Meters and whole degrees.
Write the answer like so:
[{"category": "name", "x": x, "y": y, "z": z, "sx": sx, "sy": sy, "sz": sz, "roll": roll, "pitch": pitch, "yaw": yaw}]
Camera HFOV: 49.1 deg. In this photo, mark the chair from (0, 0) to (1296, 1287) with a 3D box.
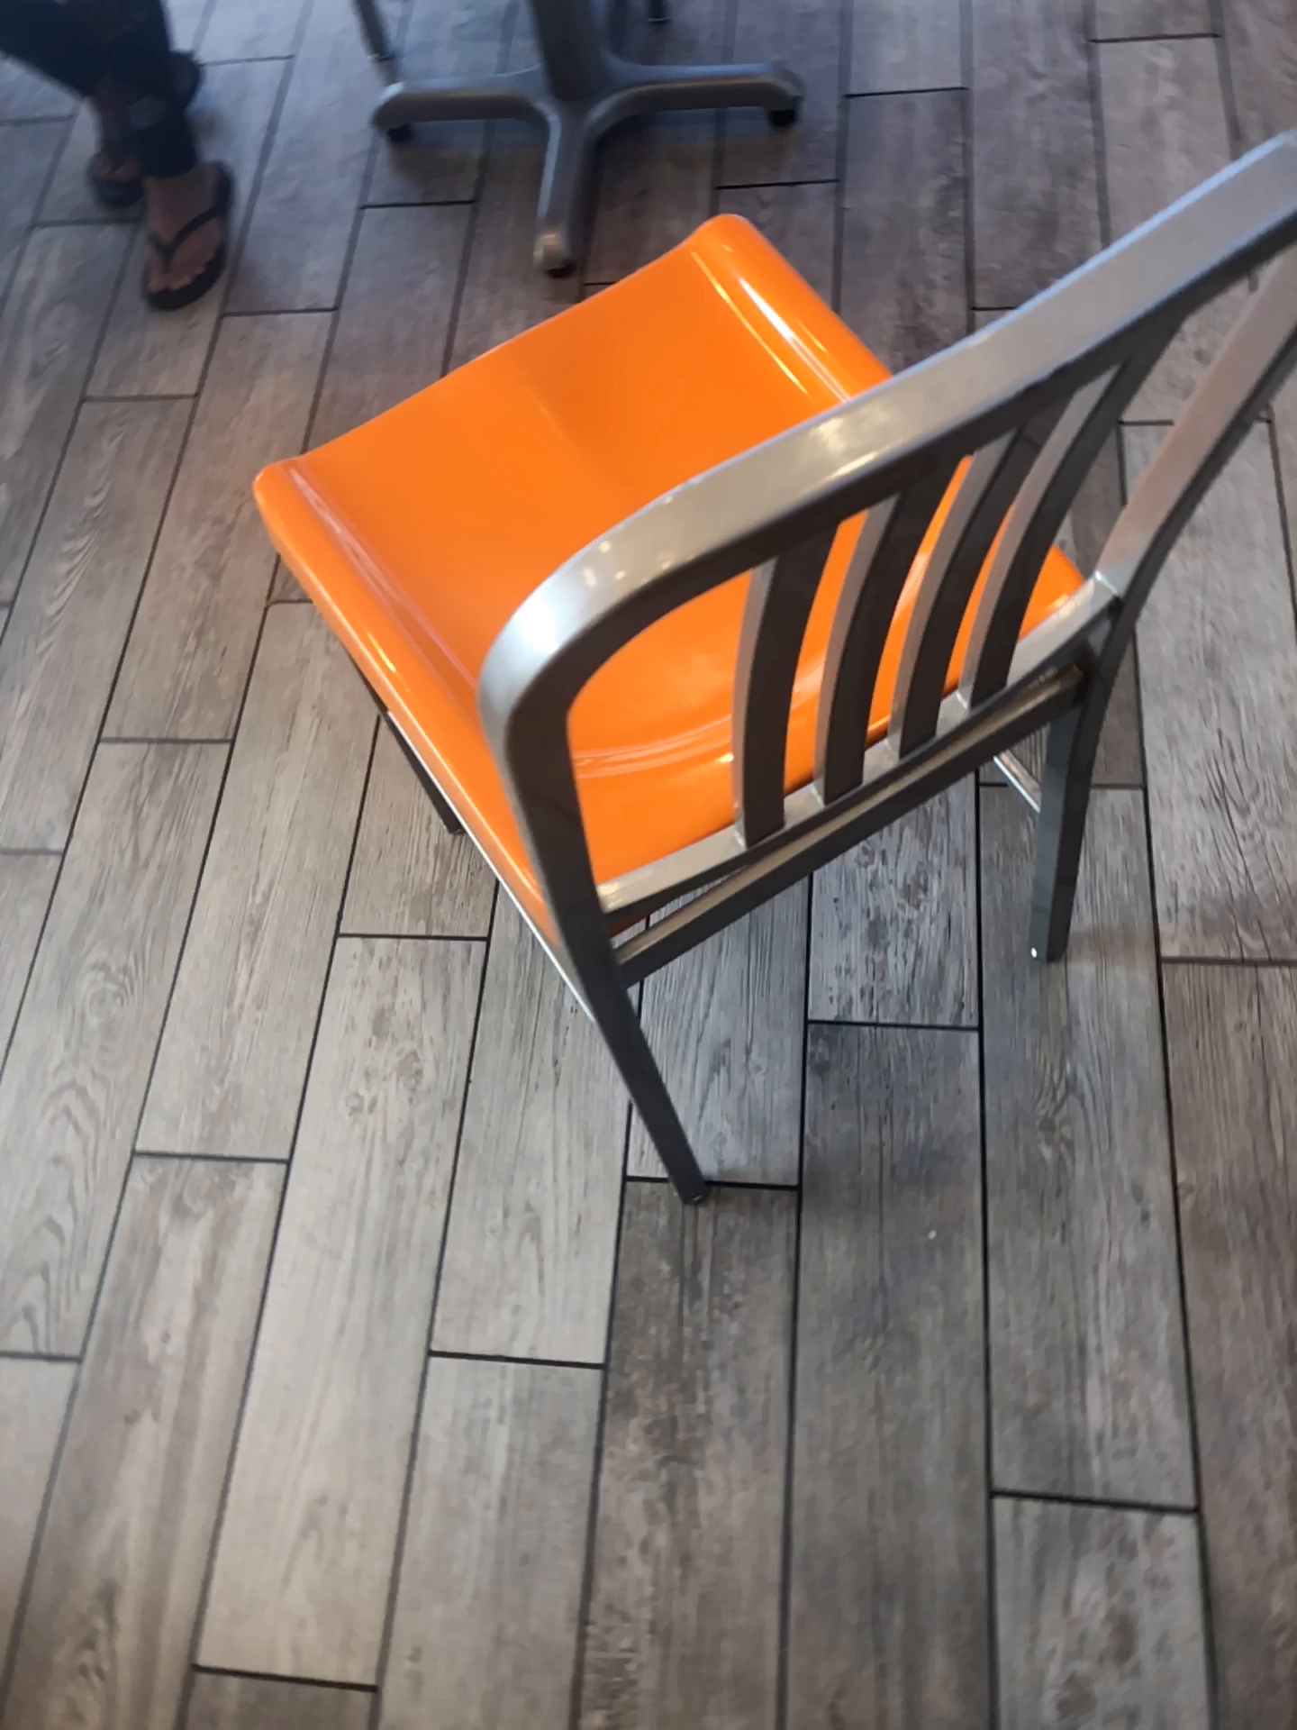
[{"category": "chair", "x": -0.020, "y": -0.170, "z": 0.856, "sx": 0.470, "sy": 0.819, "sz": 0.511, "roll": -32, "pitch": 64, "yaw": -8}]
